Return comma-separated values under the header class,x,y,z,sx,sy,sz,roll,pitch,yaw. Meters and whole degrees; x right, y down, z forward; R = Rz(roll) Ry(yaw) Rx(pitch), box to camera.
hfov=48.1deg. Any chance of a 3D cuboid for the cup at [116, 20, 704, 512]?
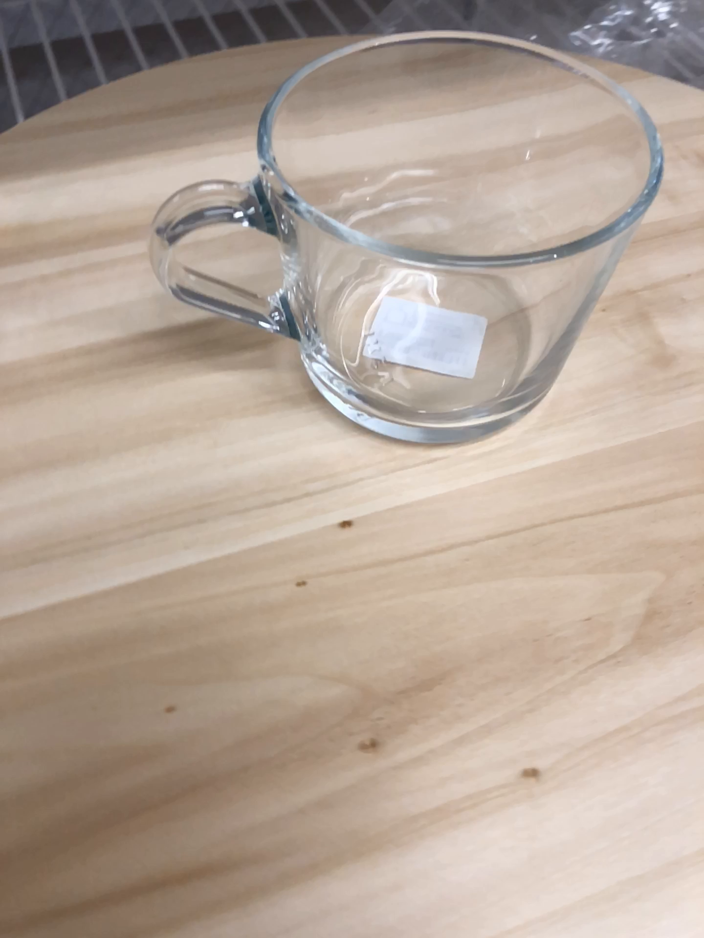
class,x,y,z,sx,sy,sz,roll,pitch,yaw
cup,0.011,-0.053,0.195,0.120,0.060,0.090,-10,54,-7
